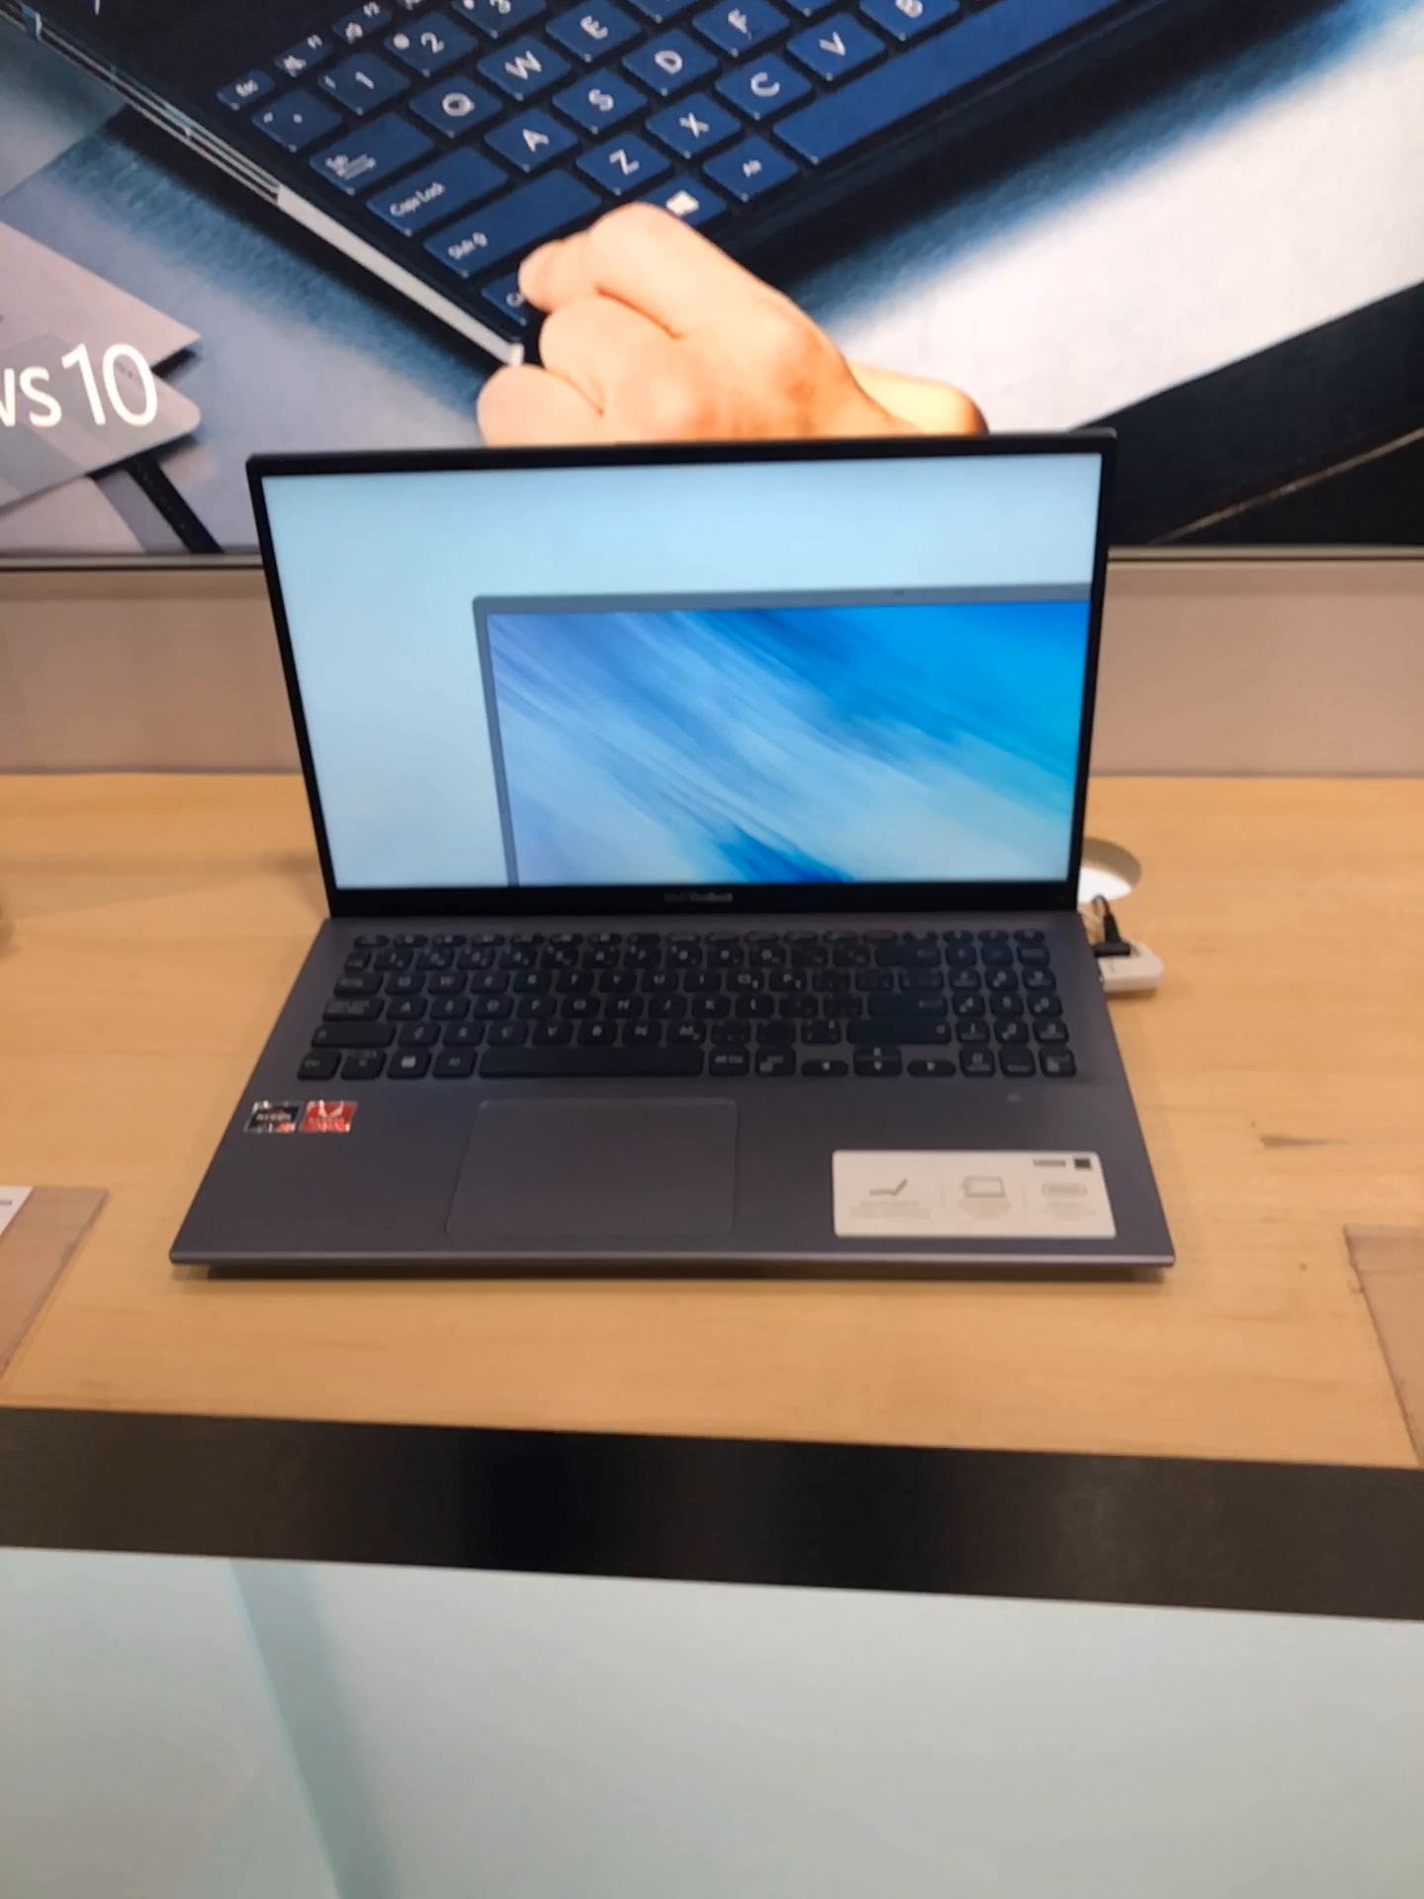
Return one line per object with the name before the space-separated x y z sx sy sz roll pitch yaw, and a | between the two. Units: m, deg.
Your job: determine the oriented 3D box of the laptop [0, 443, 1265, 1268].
laptop | -0.016 -0.046 0.591 0.349 0.211 0.243 0 33 4
